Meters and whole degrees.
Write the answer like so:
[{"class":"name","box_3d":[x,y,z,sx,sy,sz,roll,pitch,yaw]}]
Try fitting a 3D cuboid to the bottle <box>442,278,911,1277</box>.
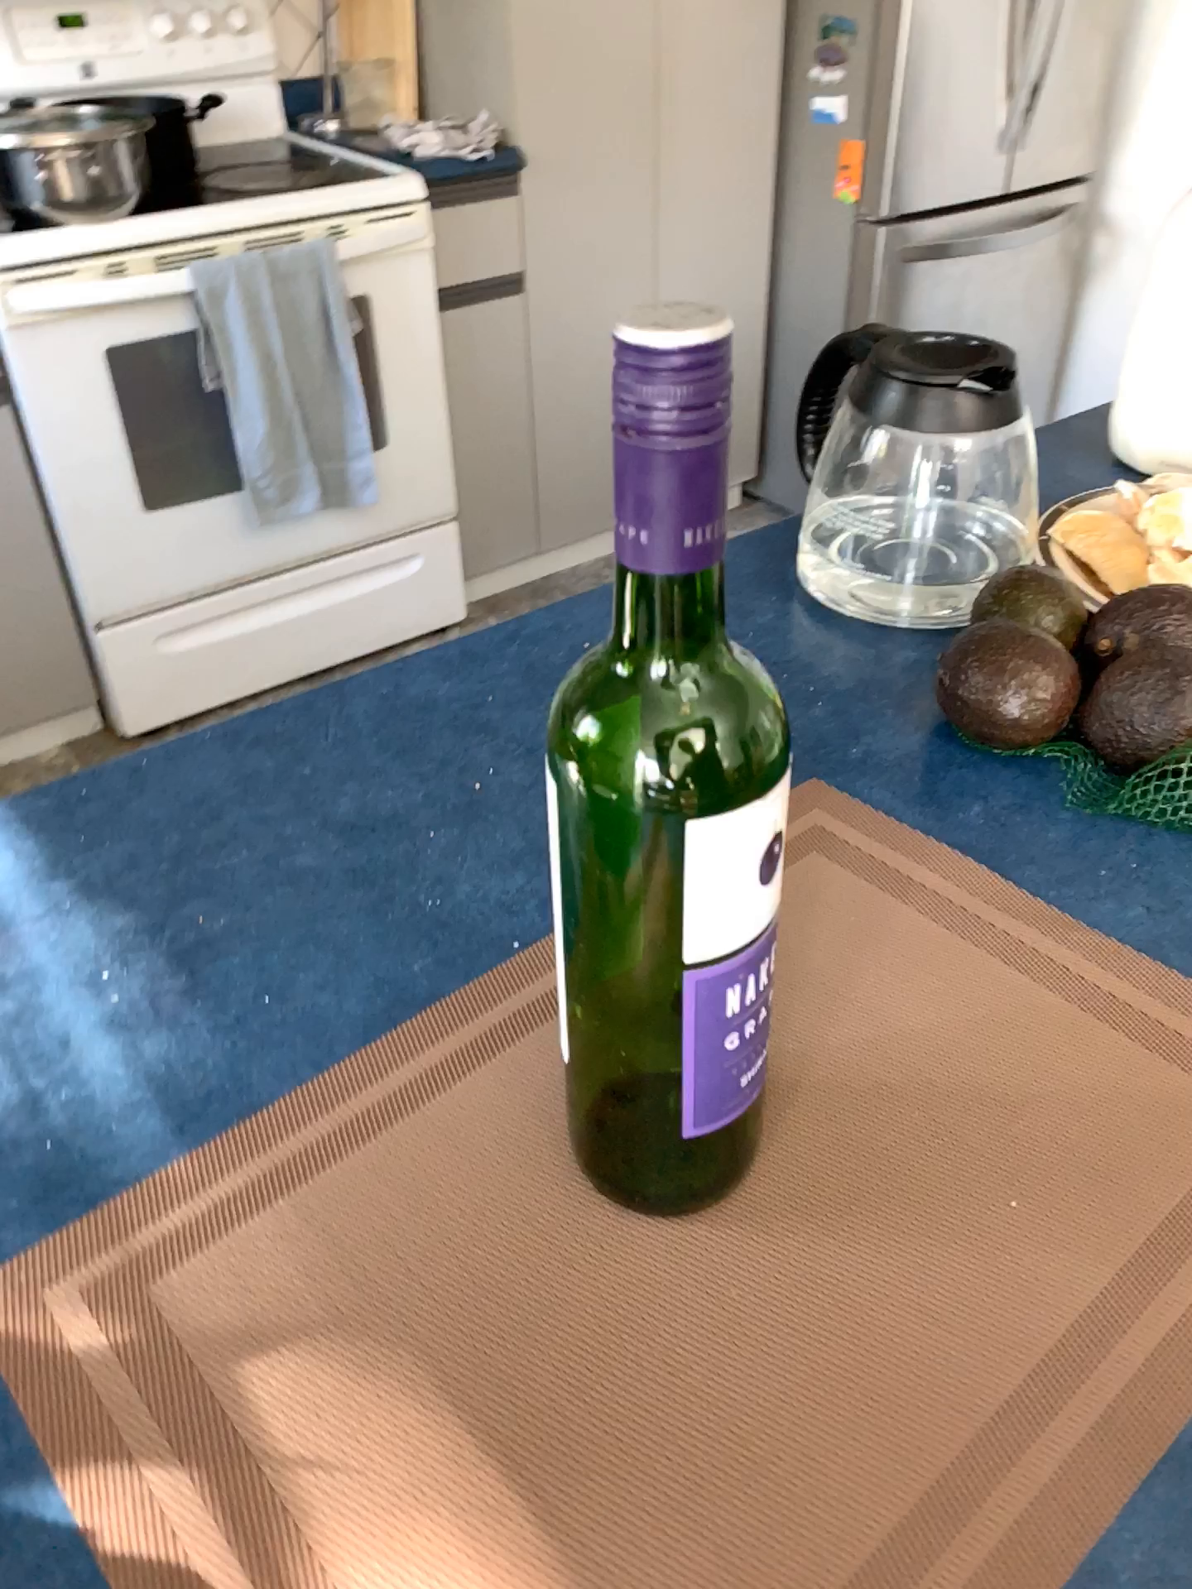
[{"class":"bottle","box_3d":[0.024,0.011,0.363,0.080,0.287,0.081,-1,36,1]}]
